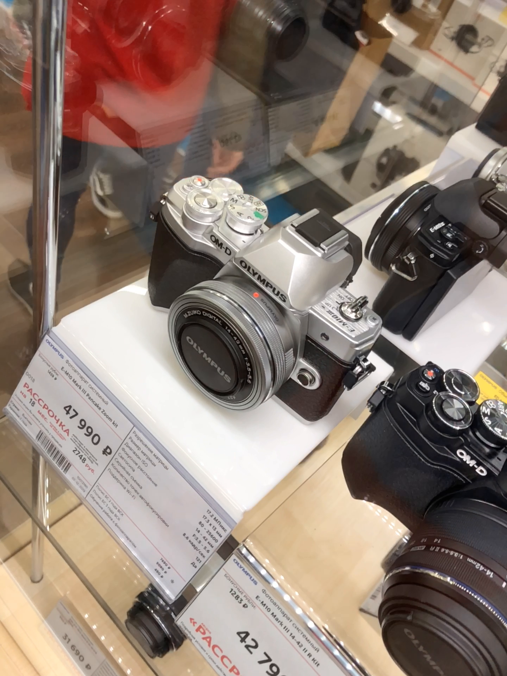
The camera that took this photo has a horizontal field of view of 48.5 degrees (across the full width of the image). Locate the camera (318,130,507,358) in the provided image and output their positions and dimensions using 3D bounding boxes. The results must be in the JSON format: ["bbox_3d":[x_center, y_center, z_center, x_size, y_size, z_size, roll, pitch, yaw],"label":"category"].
[{"bbox_3d":[0.110,-0.059,0.326,0.078,0.068,0.109,43,49,18],"label":"camera"}]

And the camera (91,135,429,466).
[{"bbox_3d":[-0.003,-0.022,0.255,0.122,0.067,0.073,42,49,17],"label":"camera"}]
